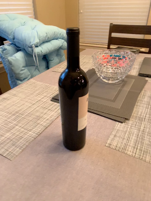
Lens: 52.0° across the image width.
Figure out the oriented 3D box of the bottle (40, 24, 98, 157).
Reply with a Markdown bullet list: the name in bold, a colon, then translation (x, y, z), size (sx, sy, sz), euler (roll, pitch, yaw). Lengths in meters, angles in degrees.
- **bottle**: translation (-0.008, -0.010, 0.400), size (0.090, 0.328, 0.084), euler (-1, 31, 0)
